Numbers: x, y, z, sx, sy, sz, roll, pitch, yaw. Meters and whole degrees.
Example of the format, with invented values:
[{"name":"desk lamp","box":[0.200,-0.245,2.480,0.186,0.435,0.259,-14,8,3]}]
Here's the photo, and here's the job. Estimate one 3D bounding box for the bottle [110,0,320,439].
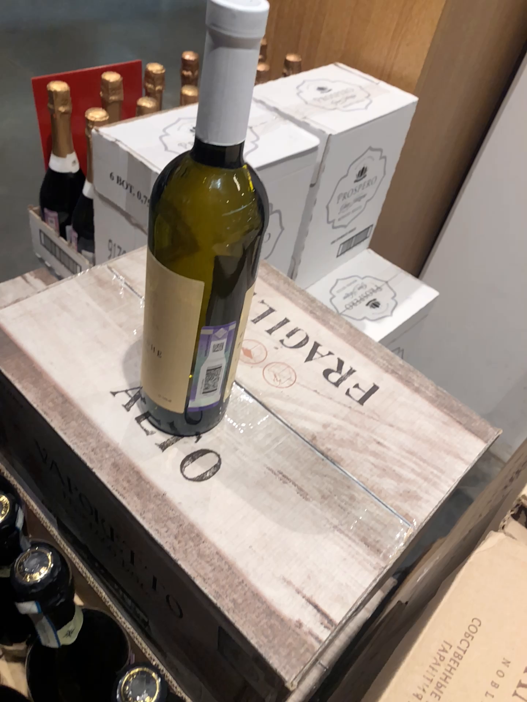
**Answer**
[{"name":"bottle","box":[-0.053,-0.072,0.384,0.080,0.298,0.090,-7,49,-21]}]
